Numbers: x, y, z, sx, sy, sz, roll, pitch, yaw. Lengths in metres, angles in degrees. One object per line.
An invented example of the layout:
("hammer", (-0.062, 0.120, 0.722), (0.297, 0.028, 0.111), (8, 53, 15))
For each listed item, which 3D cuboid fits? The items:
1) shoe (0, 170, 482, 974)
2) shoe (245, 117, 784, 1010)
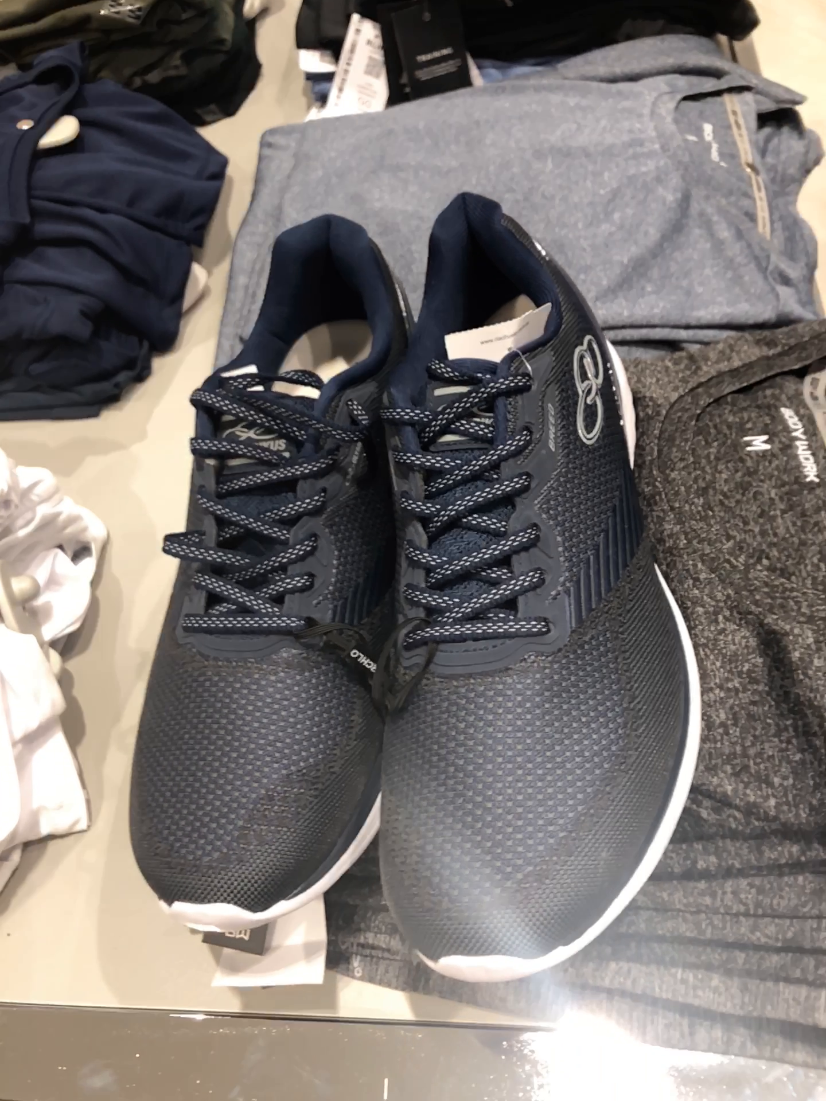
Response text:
("shoe", (-0.052, 0.001, 0.376), (0.120, 0.129, 0.291), (1, 60, 13))
("shoe", (0.042, 0.005, 0.345), (0.120, 0.129, 0.291), (-12, 57, 24))
